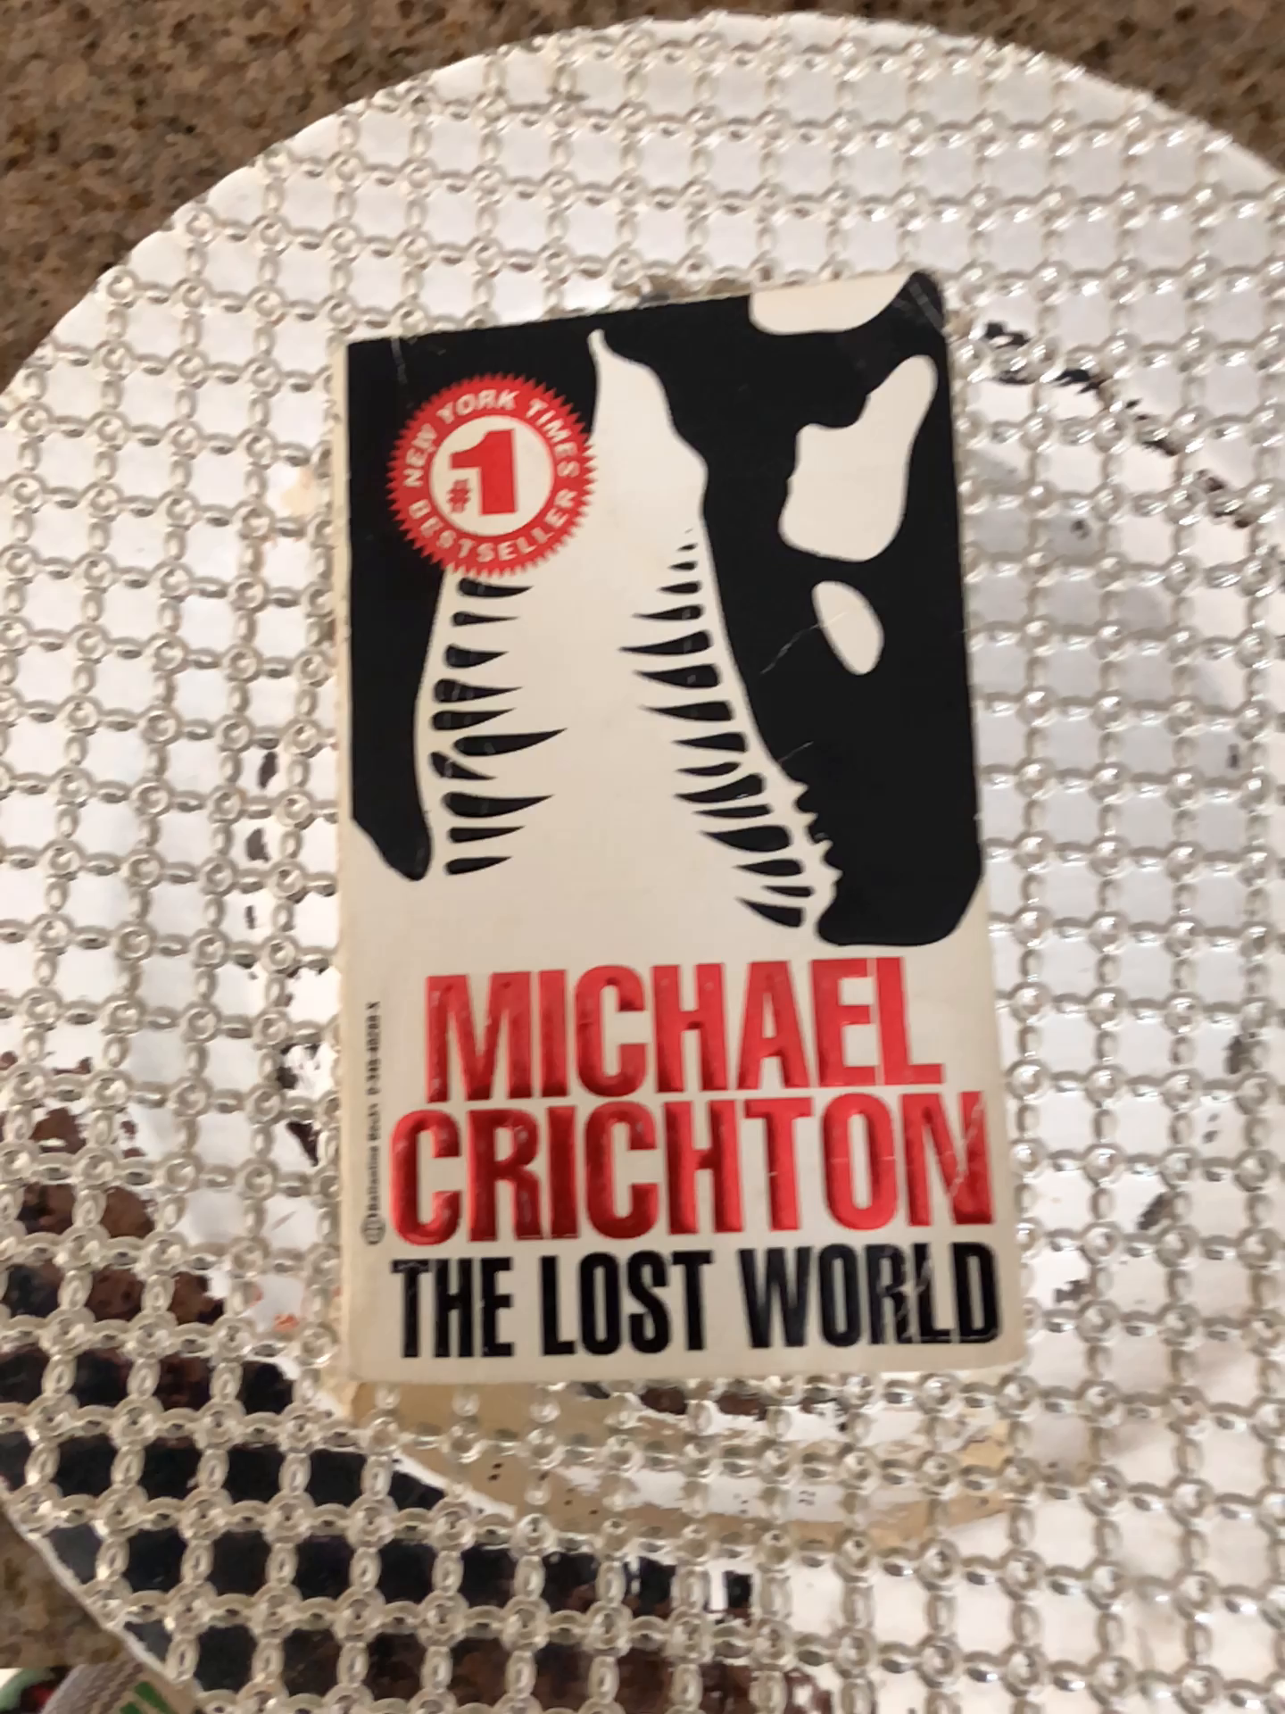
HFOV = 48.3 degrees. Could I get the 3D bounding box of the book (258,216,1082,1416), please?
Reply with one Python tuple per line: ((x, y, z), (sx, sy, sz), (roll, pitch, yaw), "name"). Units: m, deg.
((0.001, -0.009, 0.240), (0.118, 0.040, 0.182), (-2, 81, 1), "book")
